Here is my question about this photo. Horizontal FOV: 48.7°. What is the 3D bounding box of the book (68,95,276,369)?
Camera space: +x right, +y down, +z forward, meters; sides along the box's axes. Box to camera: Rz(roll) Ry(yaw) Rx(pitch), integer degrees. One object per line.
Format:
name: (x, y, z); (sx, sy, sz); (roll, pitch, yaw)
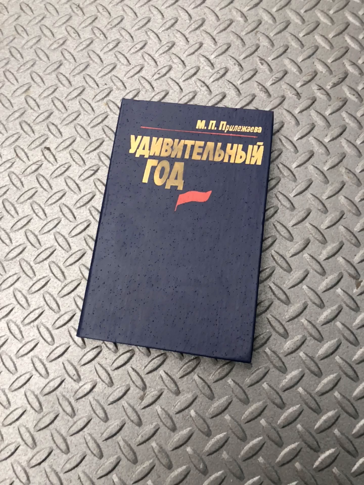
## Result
book: (-0.002, -0.013, 0.324); (0.130, 0.040, 0.200); (7, 78, 7)
